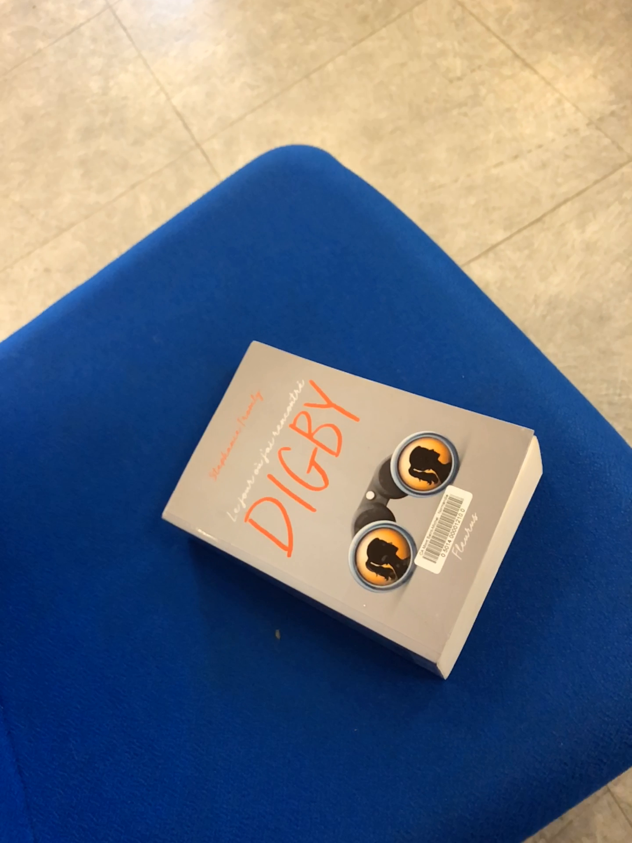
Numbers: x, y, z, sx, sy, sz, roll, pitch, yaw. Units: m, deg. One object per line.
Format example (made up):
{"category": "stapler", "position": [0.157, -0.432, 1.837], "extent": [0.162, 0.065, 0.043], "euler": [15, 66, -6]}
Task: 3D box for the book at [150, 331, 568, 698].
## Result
{"category": "book", "position": [0.023, 0.046, 0.438], "extent": [0.211, 0.057, 0.151], "euler": [21, 76, 30]}
